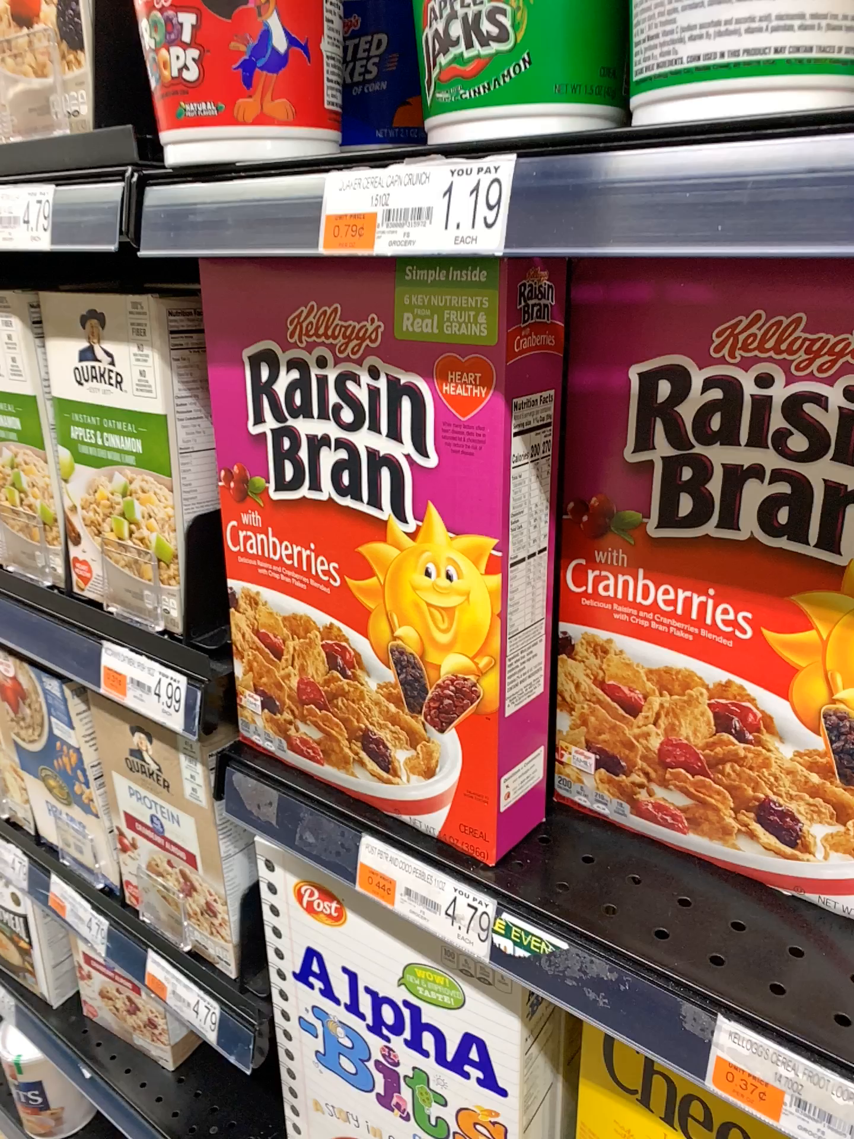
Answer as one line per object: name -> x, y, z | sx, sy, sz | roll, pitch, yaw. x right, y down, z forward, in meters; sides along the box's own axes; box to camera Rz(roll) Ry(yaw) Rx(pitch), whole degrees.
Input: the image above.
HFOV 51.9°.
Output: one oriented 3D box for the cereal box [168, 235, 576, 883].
cereal box -> -0.034, -0.016, 0.452 | 0.200, 0.289, 0.060 | 15, 24, 37
